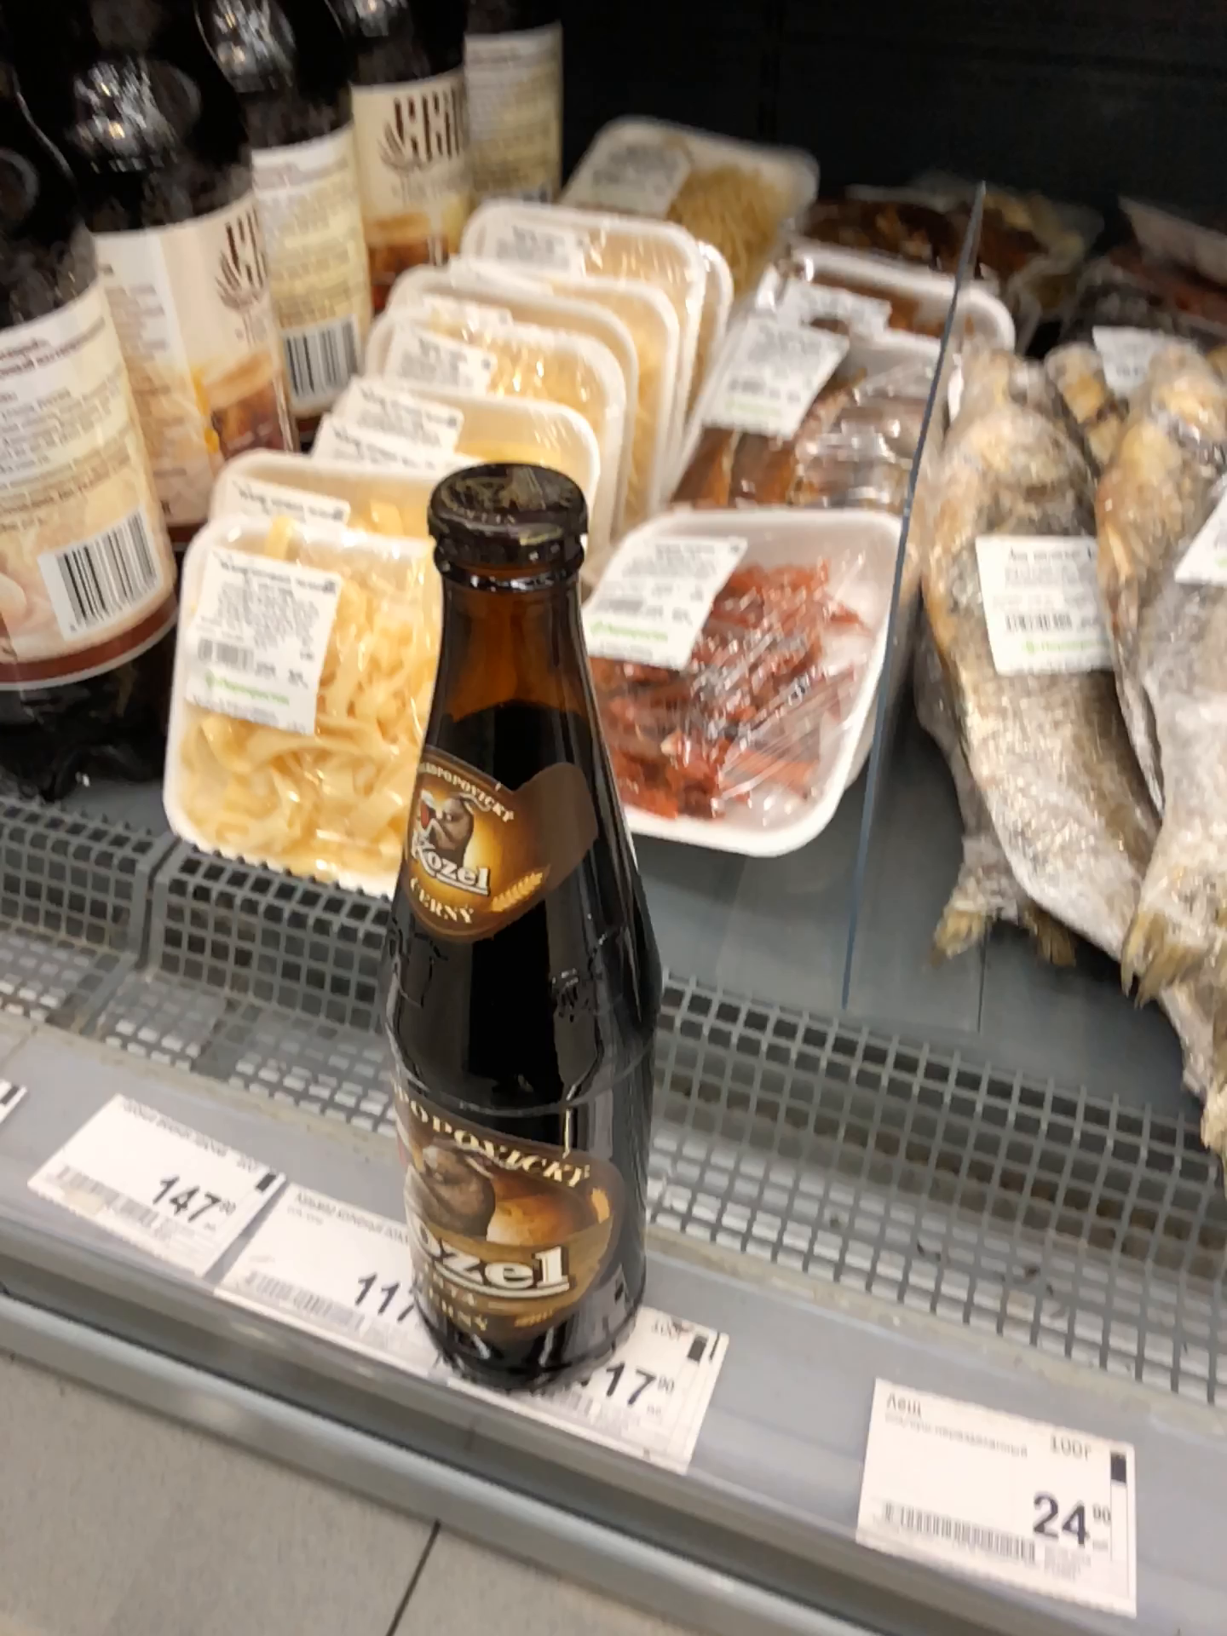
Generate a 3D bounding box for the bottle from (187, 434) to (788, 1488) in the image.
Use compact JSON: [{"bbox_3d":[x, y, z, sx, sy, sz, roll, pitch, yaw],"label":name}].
[{"bbox_3d":[-0.022,0.046,0.298,0.070,0.231,0.070,1,40,-1],"label":"bottle"}]
